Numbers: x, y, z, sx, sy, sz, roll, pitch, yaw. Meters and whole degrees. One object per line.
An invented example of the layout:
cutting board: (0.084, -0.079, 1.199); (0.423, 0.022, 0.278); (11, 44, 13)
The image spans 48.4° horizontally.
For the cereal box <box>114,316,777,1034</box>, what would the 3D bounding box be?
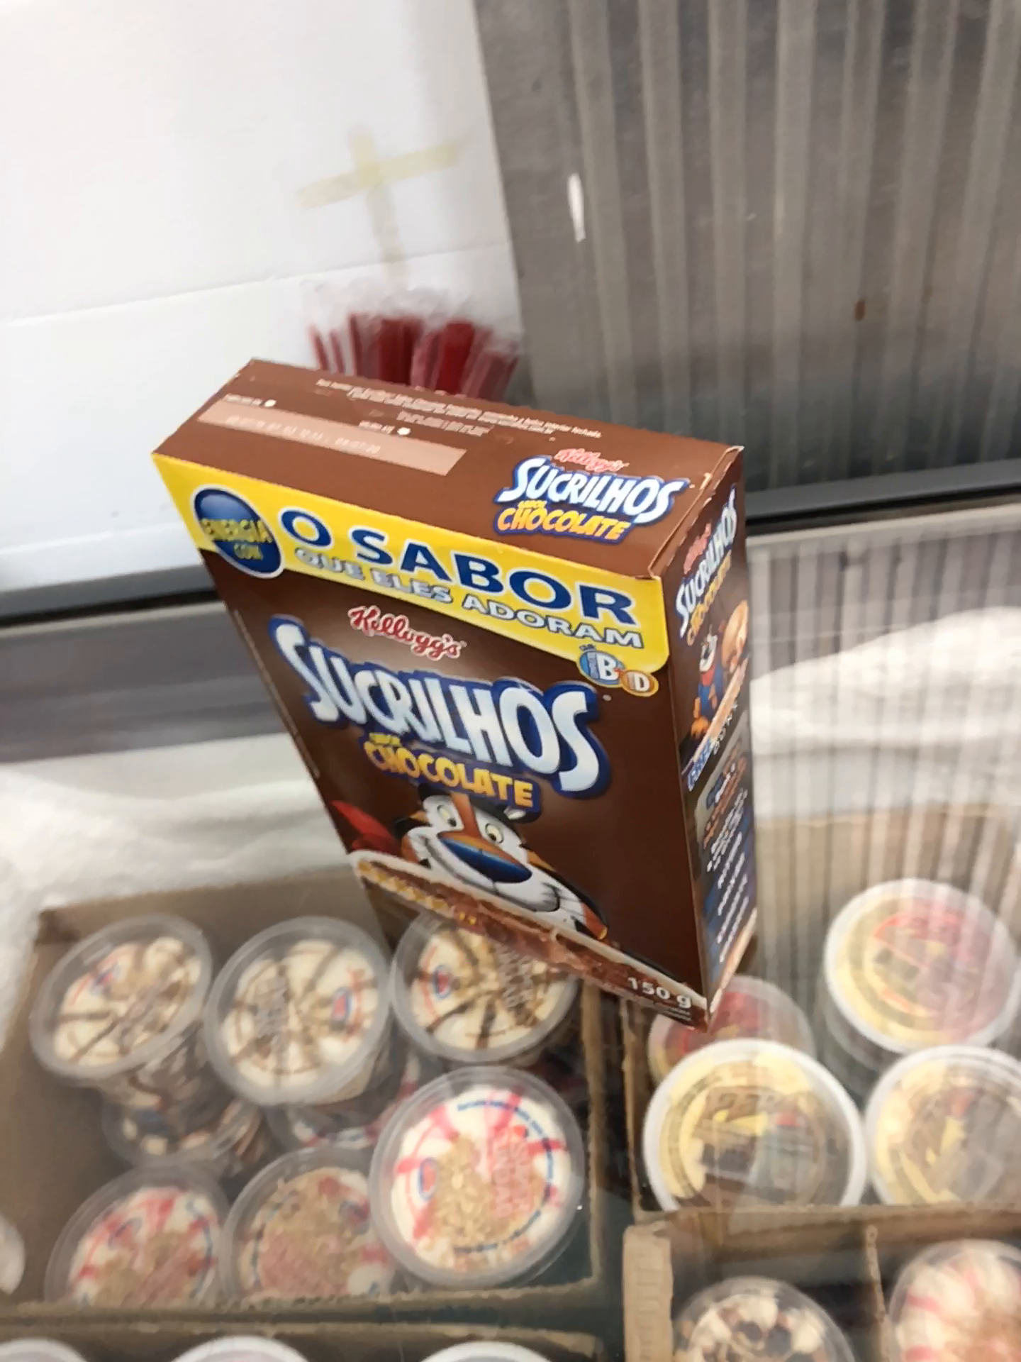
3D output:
cereal box: (-0.004, 0.008, 0.337); (0.150, 0.209, 0.050); (17, 54, 25)
